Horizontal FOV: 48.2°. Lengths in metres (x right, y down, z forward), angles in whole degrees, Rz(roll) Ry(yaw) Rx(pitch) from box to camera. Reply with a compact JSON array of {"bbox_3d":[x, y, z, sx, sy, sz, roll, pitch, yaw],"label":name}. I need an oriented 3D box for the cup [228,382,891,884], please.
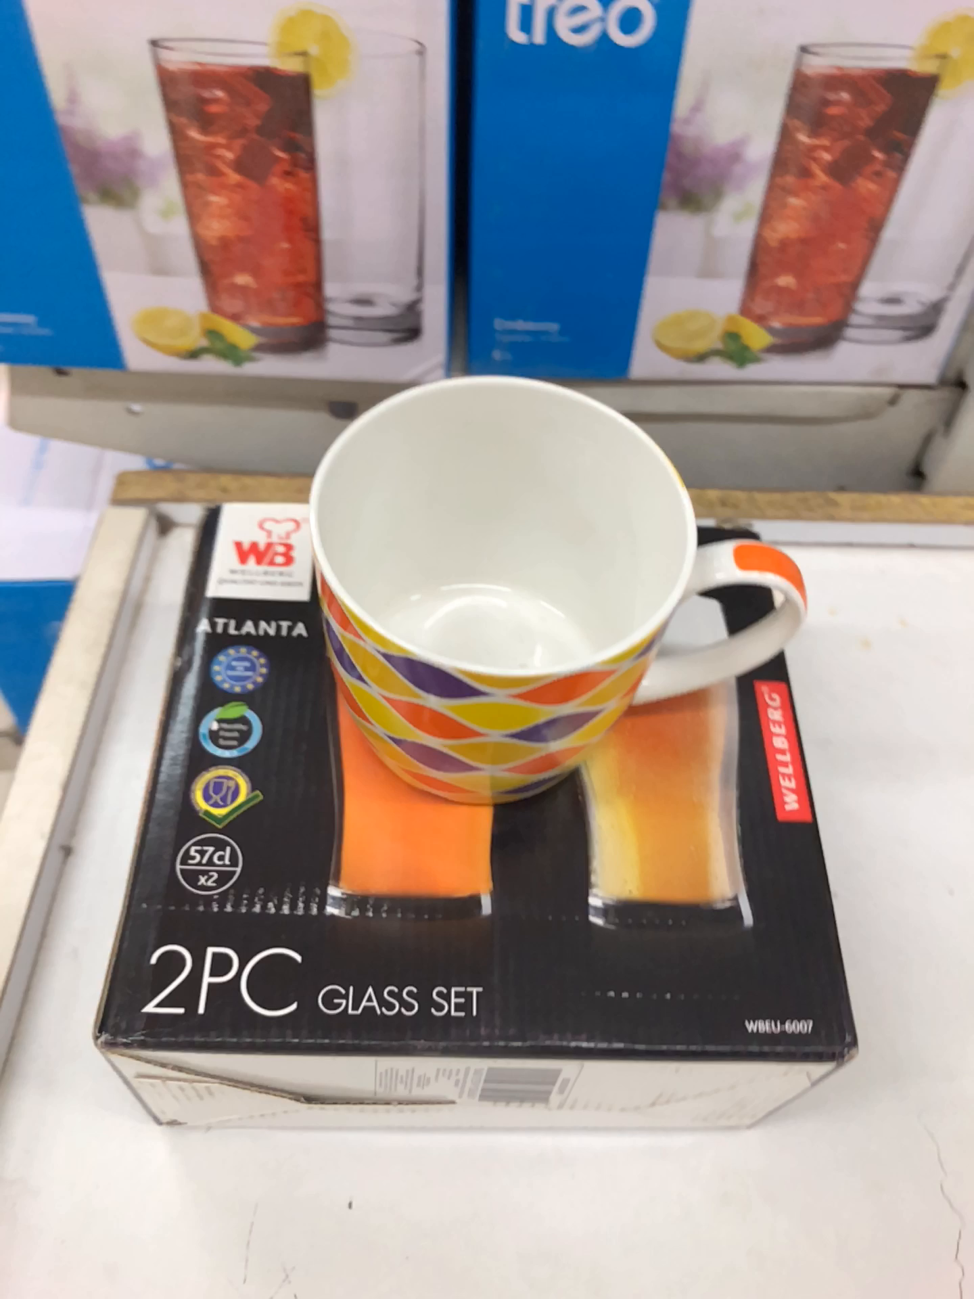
[{"bbox_3d":[0.013,-0.003,0.276,0.130,0.090,0.090,0,52,-2],"label":"cup"}]
